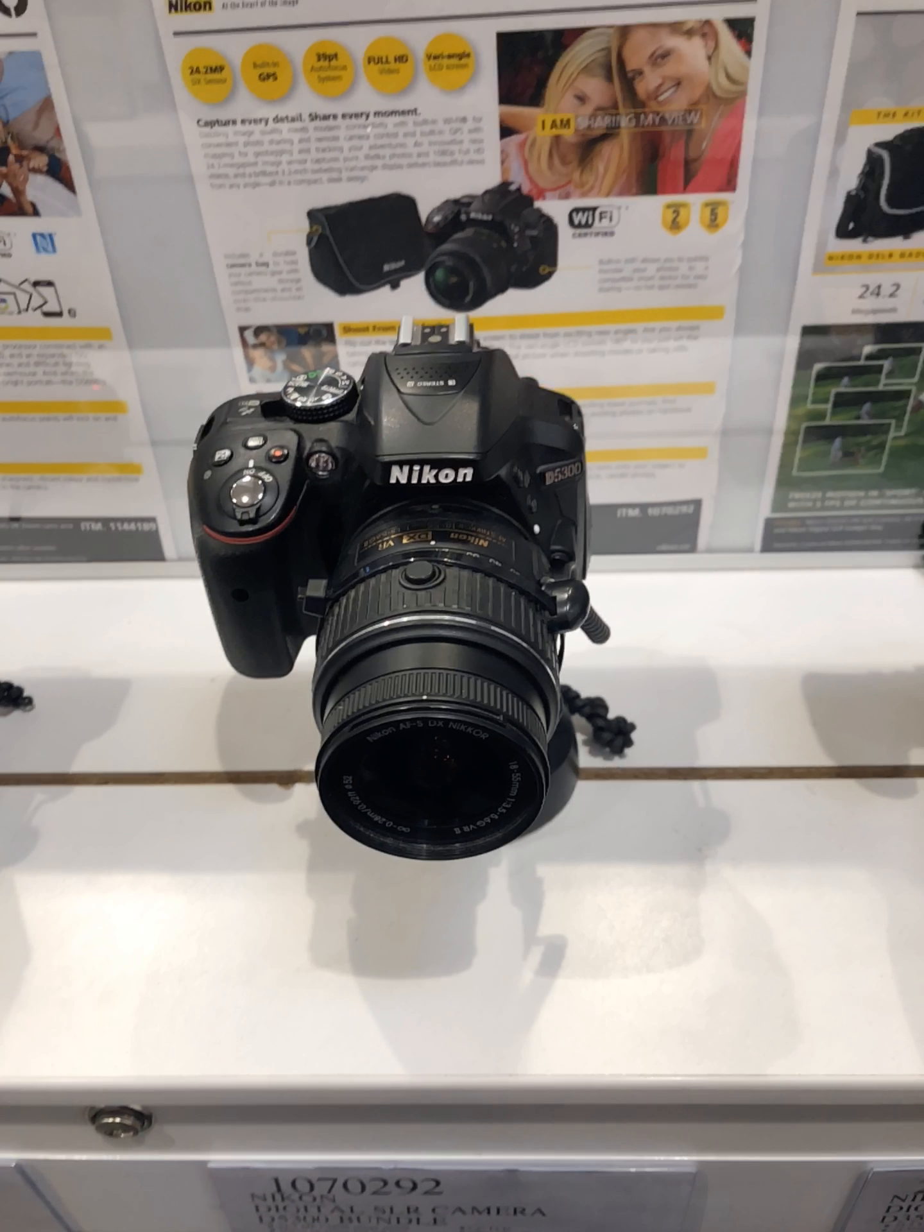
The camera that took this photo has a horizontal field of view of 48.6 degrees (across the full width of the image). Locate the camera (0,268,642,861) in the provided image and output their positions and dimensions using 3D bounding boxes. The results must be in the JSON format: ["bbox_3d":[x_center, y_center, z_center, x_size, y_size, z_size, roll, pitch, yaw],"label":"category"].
[{"bbox_3d":[-0.029,-0.022,0.290,0.130,0.089,0.151,-2,41,1],"label":"camera"}]
